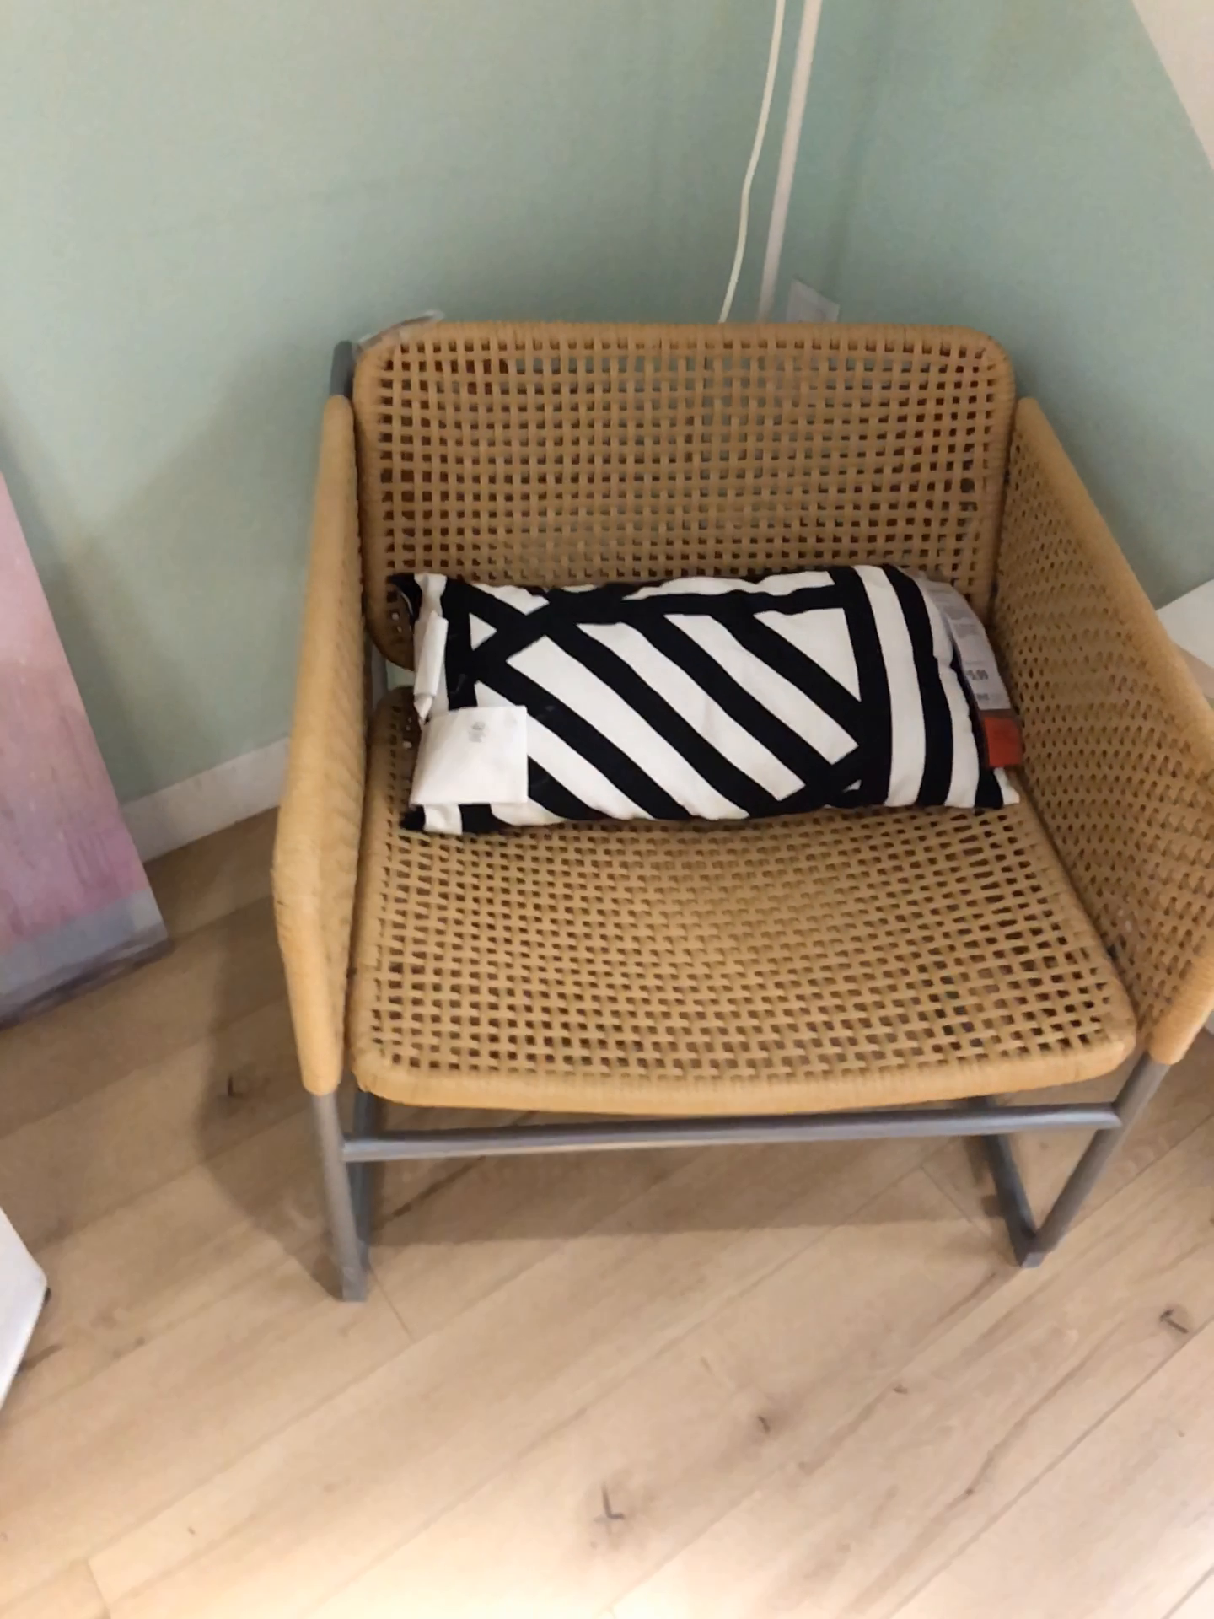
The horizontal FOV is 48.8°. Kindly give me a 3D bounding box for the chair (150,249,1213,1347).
[{"bbox_3d":[0.105,-0.033,1.229,0.790,0.628,0.753,-1,47,-5],"label":"chair"}]
